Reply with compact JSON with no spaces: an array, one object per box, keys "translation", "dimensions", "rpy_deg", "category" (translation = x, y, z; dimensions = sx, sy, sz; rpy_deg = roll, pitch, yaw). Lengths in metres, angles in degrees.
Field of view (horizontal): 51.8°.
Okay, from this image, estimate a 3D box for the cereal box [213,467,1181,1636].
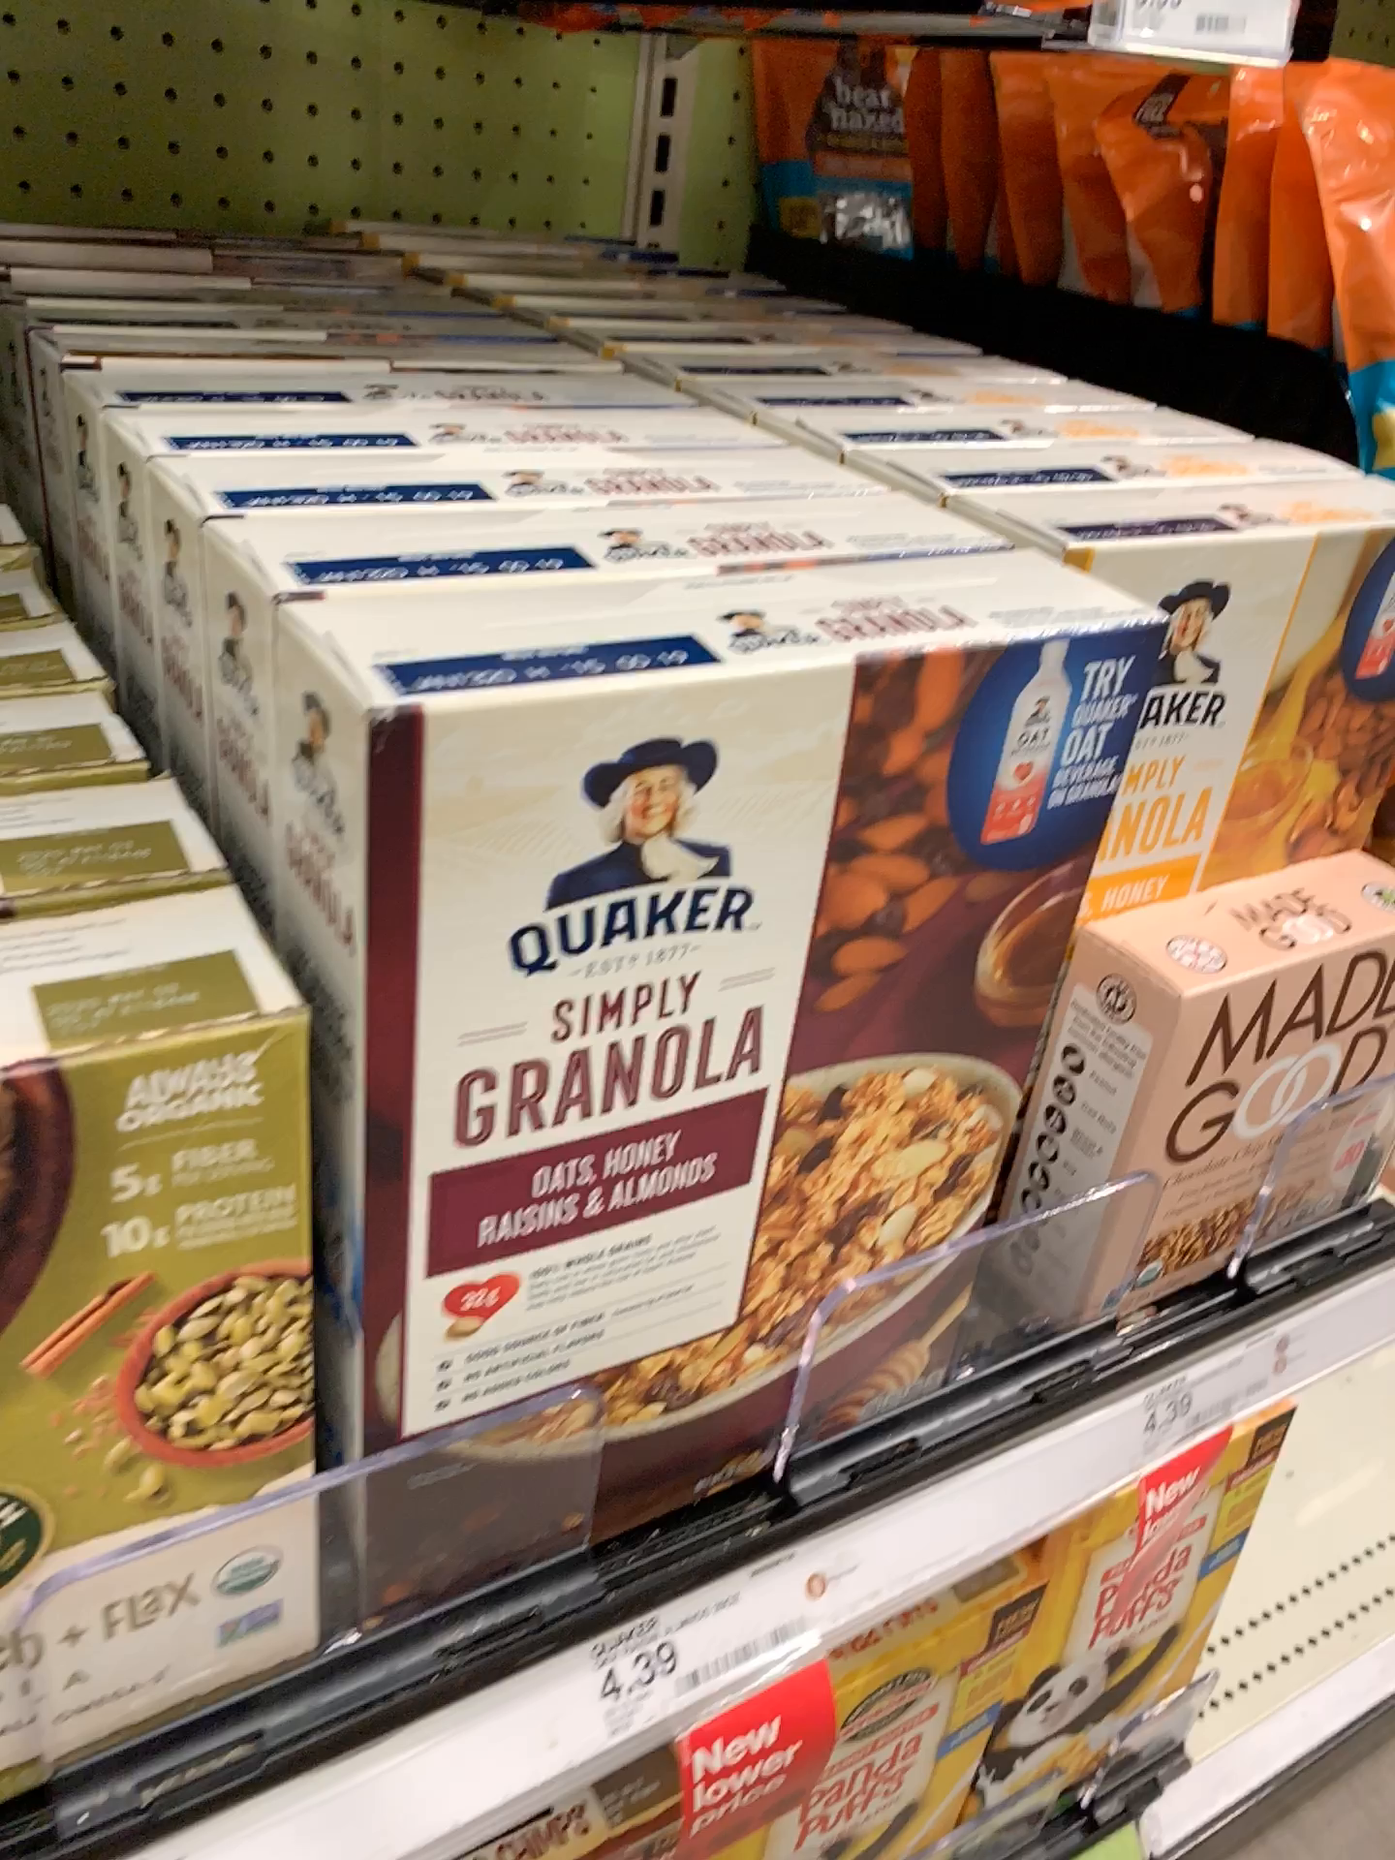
[{"translation":[-0.008,0.028,0.337],"dimensions":[0.180,0.249,0.060],"rpy_deg":[-12,37,-30],"category":"cereal box"}]
